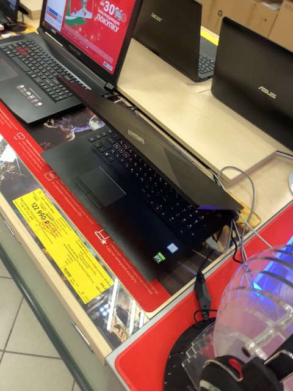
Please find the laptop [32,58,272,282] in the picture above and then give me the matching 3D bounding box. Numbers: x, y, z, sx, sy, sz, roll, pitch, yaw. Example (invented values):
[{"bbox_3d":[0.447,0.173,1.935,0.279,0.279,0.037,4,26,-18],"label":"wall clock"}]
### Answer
[{"bbox_3d":[-0.011,-0.083,0.659,0.258,0.166,0.395,-30,60,-29],"label":"laptop"}]
